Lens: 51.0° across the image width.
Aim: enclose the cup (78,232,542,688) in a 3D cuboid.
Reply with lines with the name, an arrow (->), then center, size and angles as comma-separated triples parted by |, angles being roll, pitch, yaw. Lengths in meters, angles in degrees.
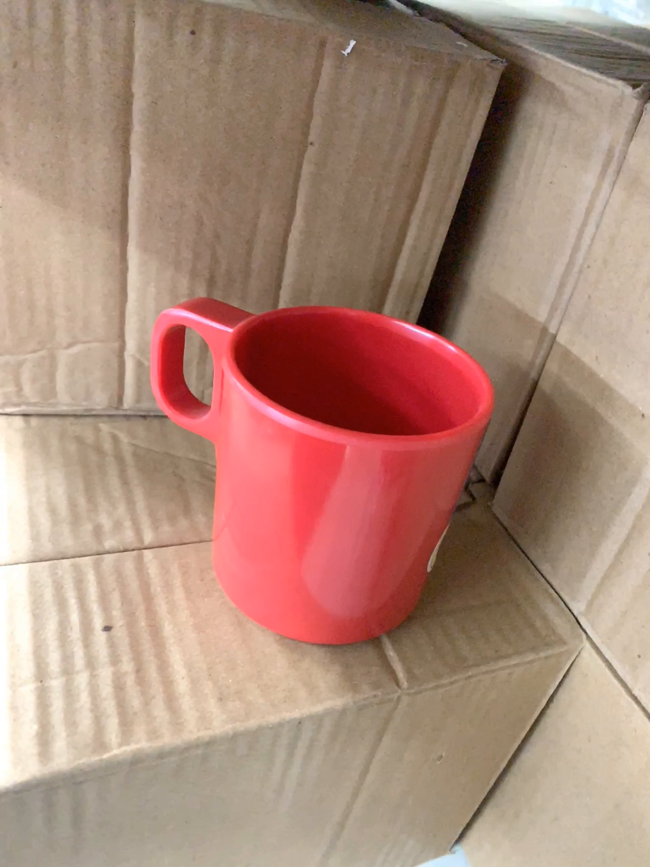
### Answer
cup -> -0.009, 0.000, 0.212 | 0.110, 0.079, 0.070 | 27, 38, 22
